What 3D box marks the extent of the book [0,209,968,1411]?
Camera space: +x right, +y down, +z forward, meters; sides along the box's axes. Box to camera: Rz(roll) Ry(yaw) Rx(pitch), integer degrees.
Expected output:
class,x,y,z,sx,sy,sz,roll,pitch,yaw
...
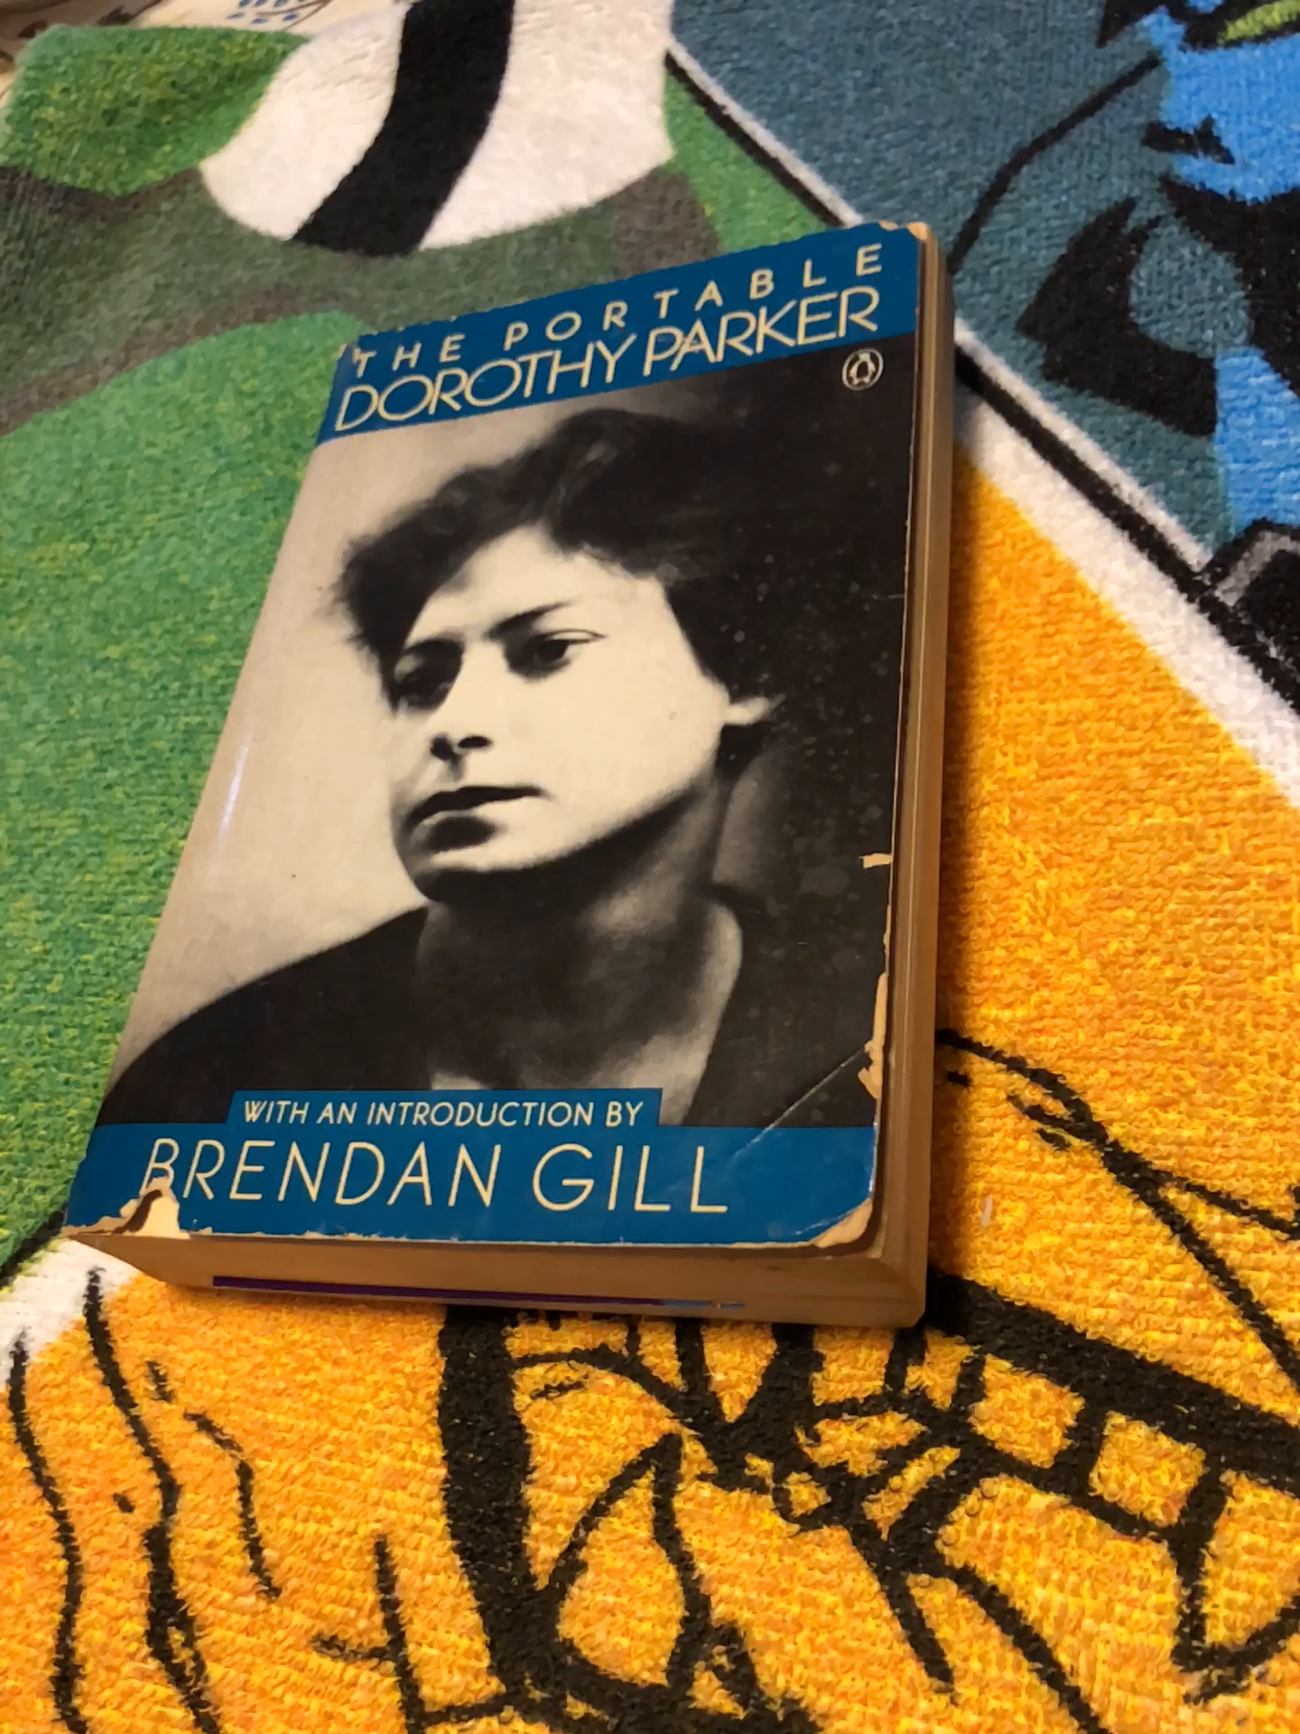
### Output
class,x,y,z,sx,sy,sz,roll,pitch,yaw
book,-0.020,-0.020,0.253,0.140,0.040,0.201,-2,59,18
